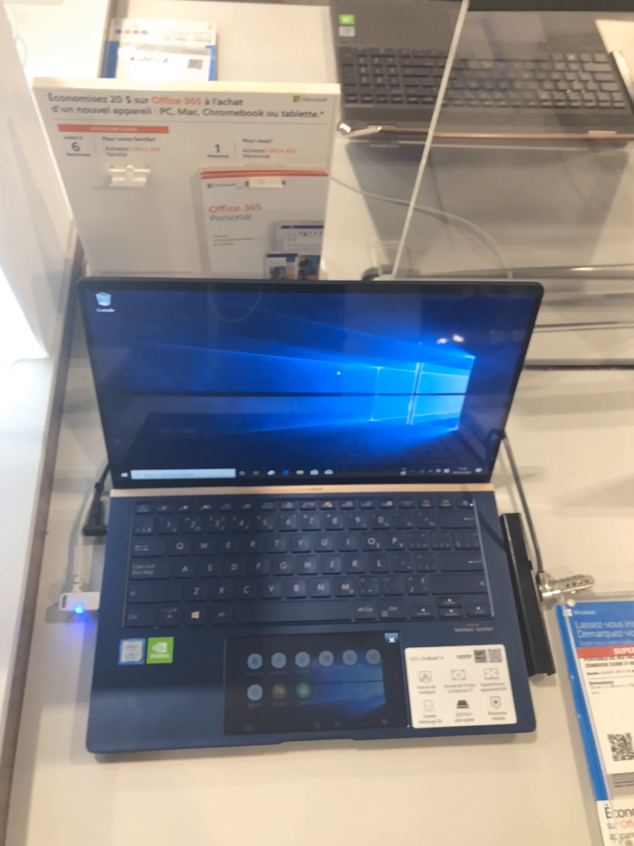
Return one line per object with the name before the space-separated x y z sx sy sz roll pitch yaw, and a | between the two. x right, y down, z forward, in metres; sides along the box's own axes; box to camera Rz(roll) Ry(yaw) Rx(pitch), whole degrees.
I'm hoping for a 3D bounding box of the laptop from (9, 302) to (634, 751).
laptop | 0.001 0.071 0.476 0.308 0.179 0.253 0 59 -5
